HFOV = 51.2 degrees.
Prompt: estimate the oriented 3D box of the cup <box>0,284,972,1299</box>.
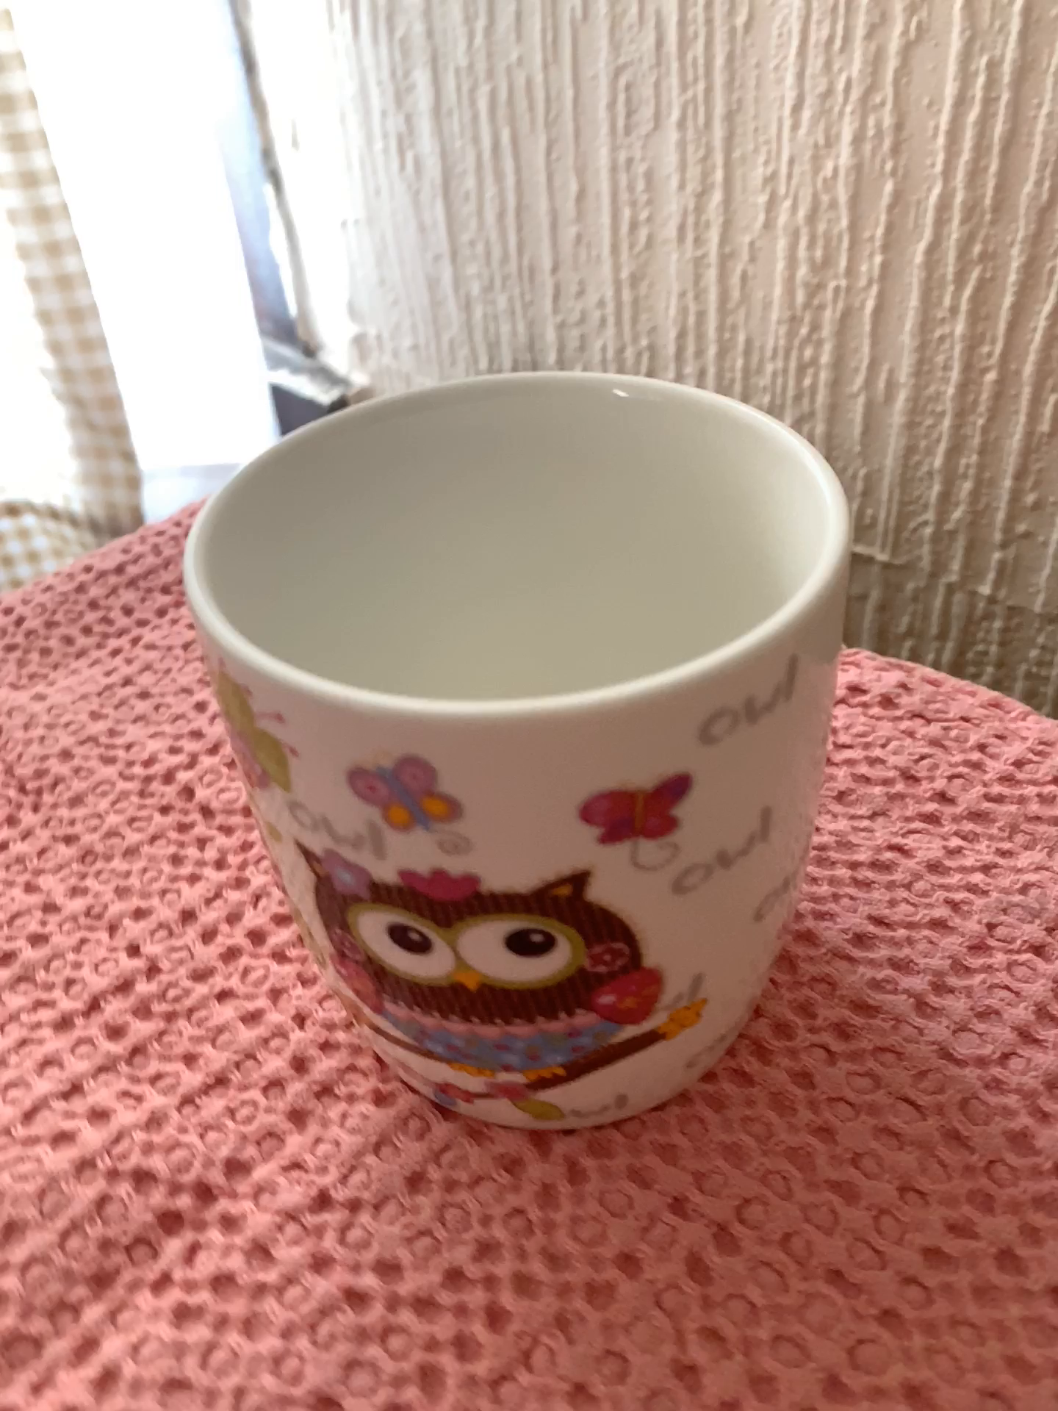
[{"bbox_3d":[-0.013,0.001,0.185,0.090,0.089,0.121,-30,45,-26],"label":"cup"}]
